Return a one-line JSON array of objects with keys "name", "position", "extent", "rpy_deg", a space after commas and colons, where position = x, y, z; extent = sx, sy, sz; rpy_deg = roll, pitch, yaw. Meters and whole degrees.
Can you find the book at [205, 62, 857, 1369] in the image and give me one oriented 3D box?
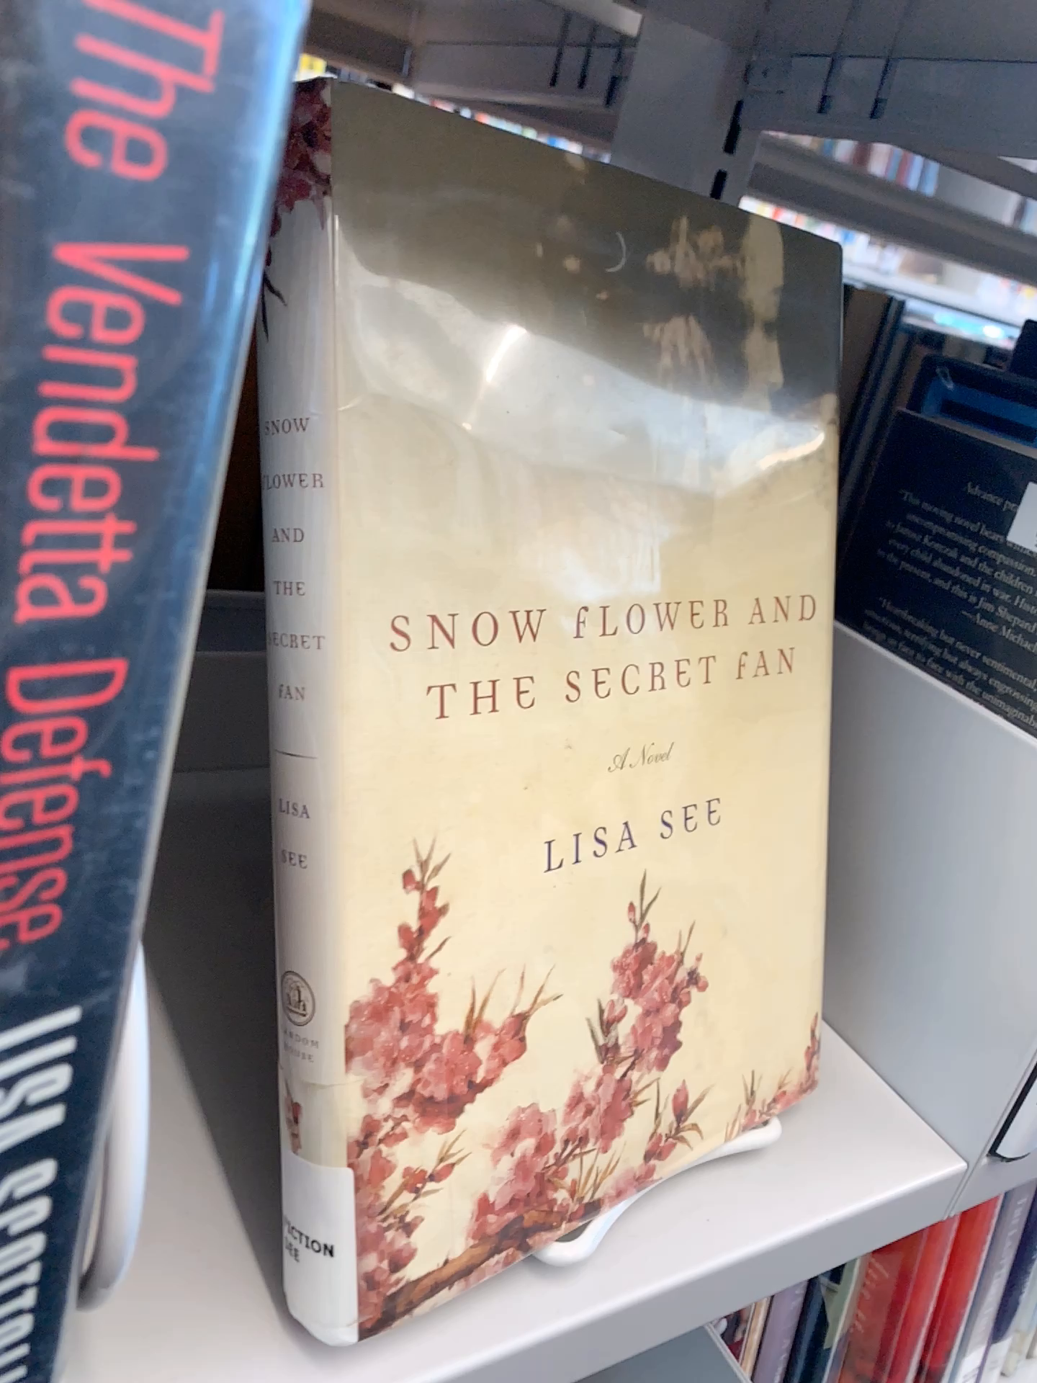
[{"name": "book", "position": [0.015, 0.003, 0.258], "extent": [0.163, 0.231, 0.041], "rpy_deg": [-6, 9, -42]}]
